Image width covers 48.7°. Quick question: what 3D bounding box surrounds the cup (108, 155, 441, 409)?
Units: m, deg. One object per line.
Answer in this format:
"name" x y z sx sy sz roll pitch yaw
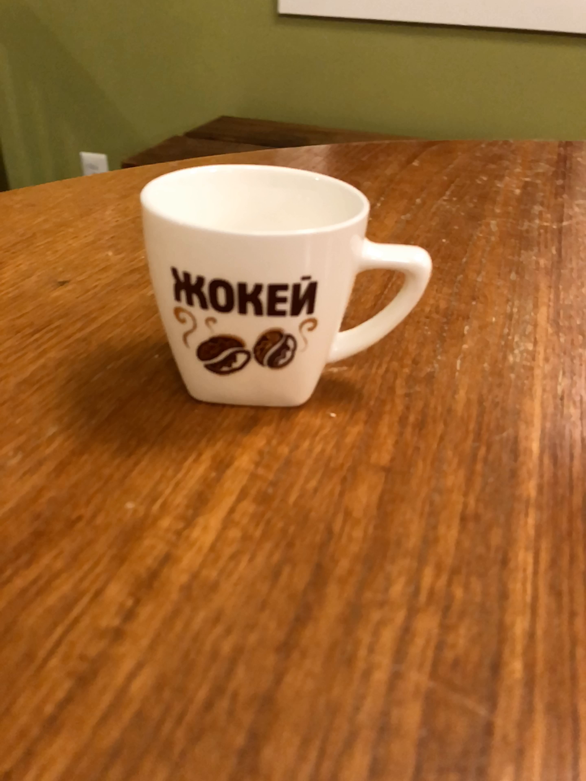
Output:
"cup" -0.003 -0.034 0.184 0.075 0.047 0.060 4 34 2
